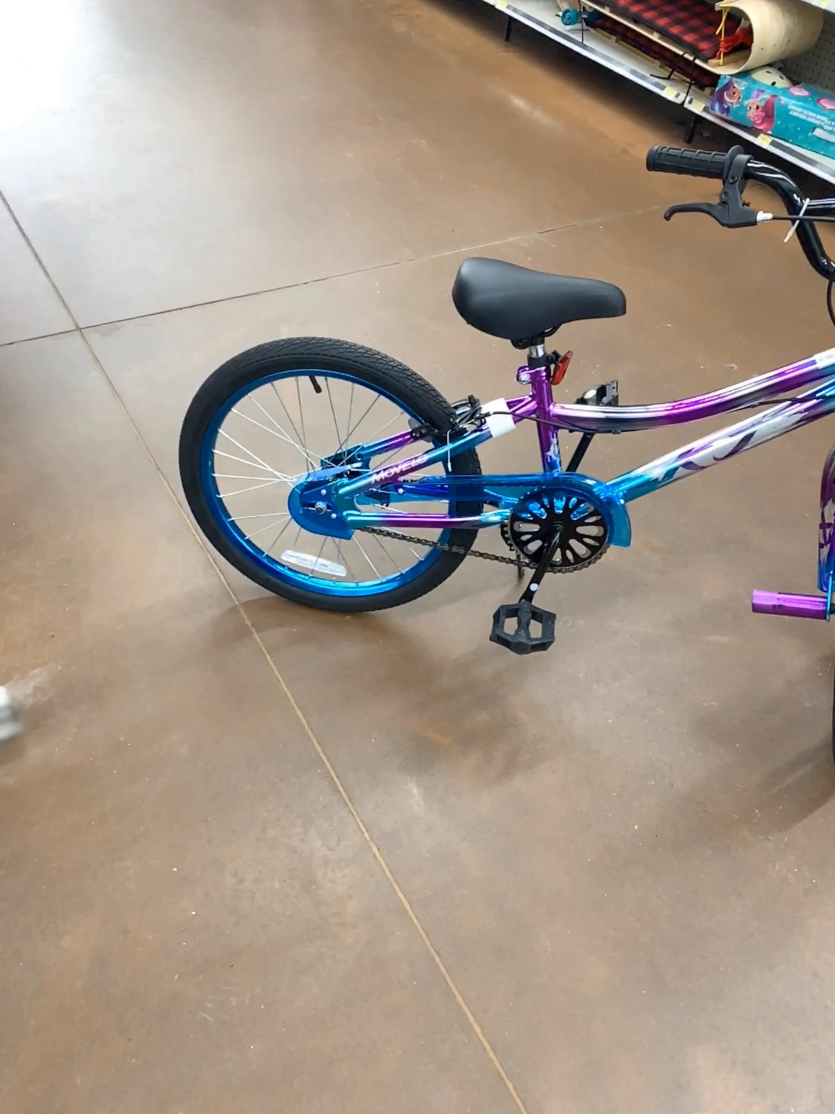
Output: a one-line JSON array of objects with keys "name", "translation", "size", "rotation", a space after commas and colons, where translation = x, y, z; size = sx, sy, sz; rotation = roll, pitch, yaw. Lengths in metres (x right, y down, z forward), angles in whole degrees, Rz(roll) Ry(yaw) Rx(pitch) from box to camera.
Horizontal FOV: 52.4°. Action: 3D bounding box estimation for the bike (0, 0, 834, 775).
[{"name": "bike", "translation": [0.114, -0.285, 1.191], "size": [0.934, 0.931, 0.580], "rotation": [13, 46, 5]}]
